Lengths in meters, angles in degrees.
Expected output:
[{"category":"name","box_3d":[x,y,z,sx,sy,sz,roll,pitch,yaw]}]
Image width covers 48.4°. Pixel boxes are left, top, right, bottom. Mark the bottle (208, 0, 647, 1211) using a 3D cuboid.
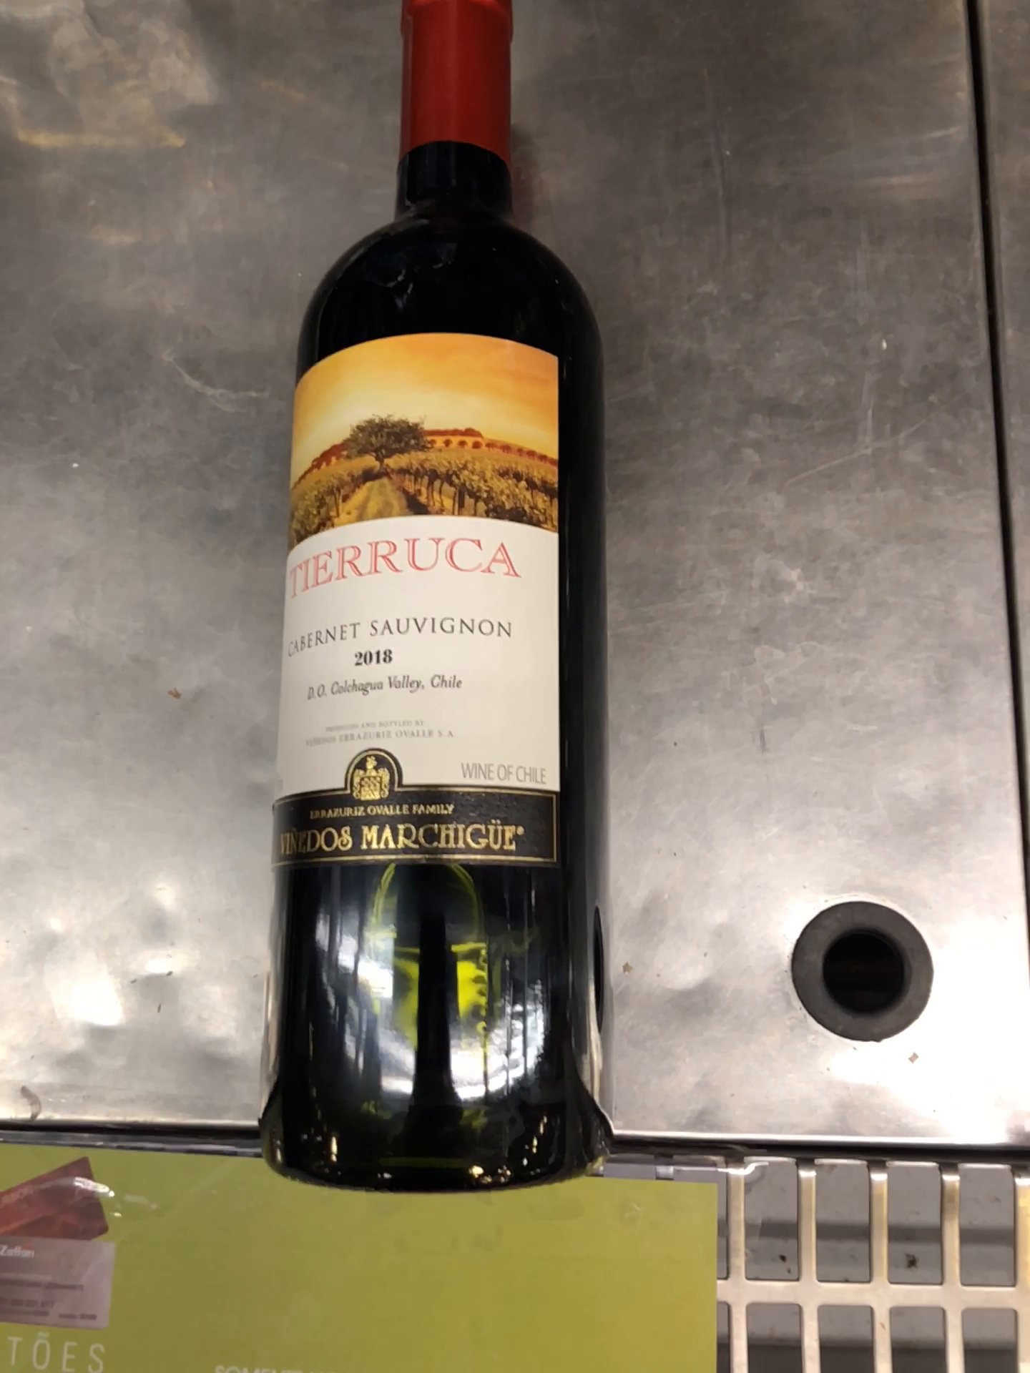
[{"category":"bottle","box_3d":[-0.015,-0.053,0.262,0.080,0.050,0.310,0,79,2]}]
